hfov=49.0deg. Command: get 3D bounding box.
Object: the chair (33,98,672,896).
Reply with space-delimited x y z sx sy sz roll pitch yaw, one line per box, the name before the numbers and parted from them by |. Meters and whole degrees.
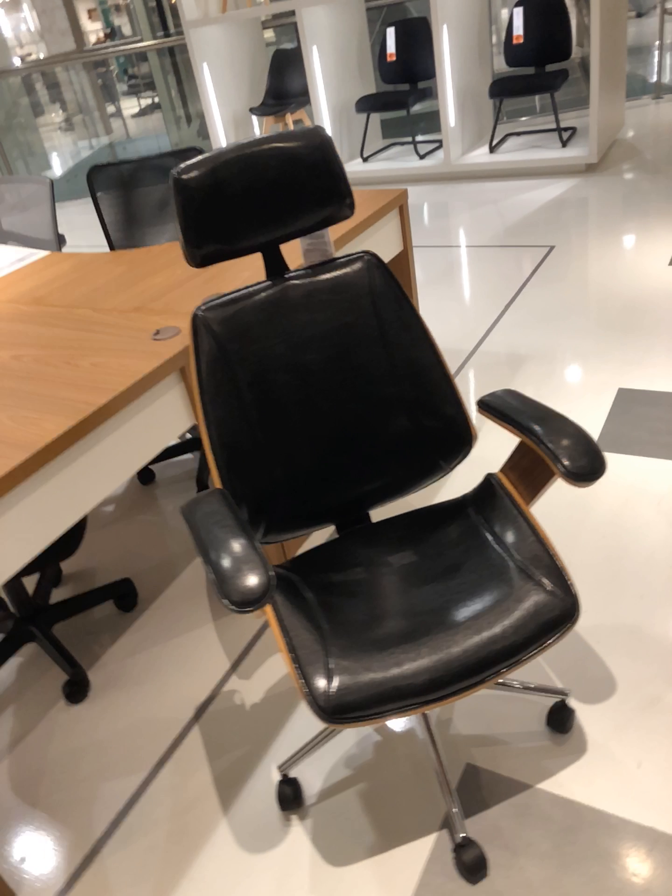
chair | 0.069 0.086 1.283 0.721 1.102 0.765 -21 33 -15
